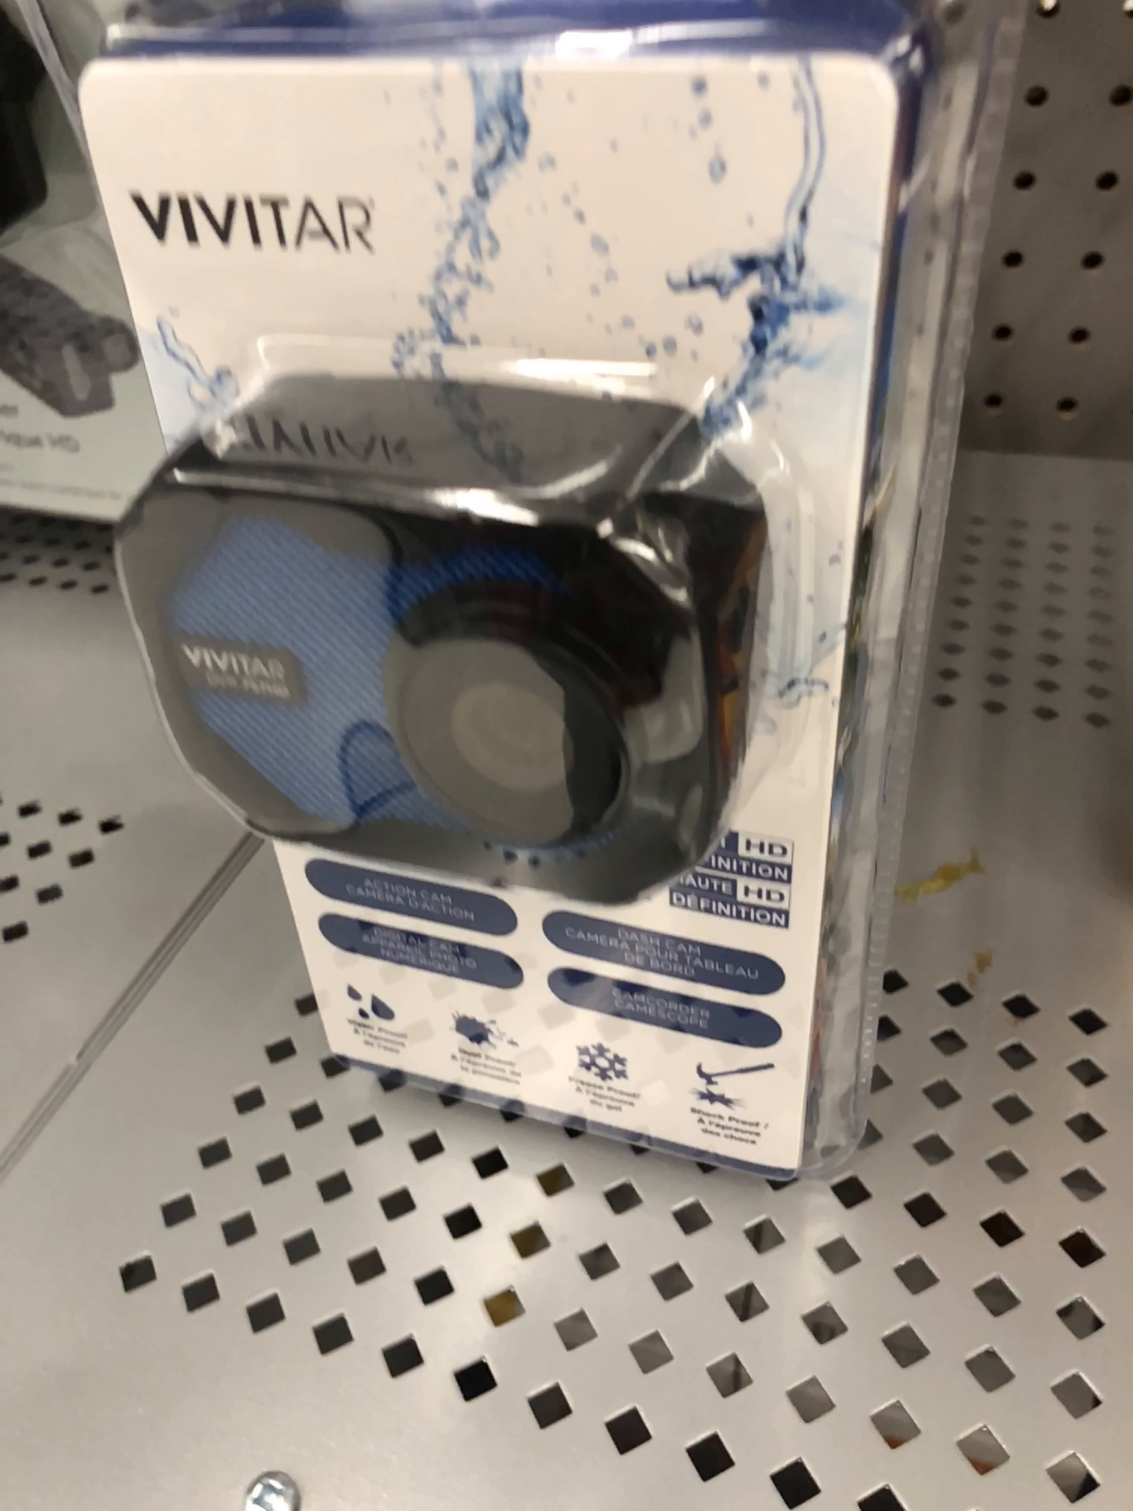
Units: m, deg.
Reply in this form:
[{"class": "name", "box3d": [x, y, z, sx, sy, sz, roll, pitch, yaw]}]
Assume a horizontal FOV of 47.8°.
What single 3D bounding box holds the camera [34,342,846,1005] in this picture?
[{"class": "camera", "box3d": [-0.010, -0.012, 0.141, 0.070, 0.050, 0.040, 10, 40, 19]}]
